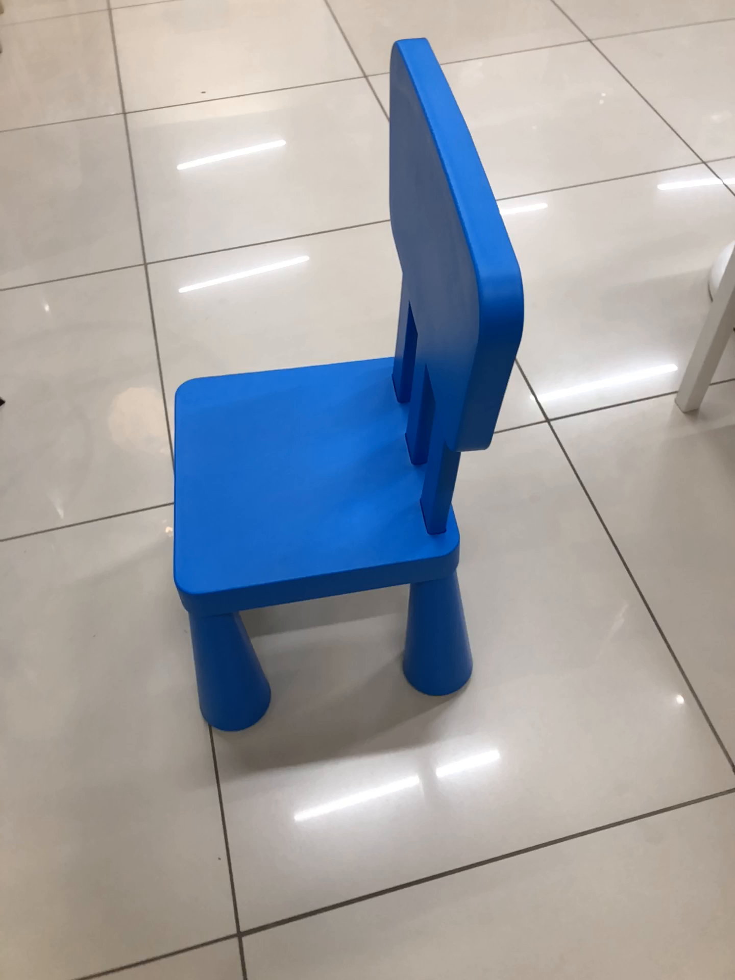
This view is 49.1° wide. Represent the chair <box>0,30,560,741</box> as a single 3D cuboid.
[{"bbox_3d":[-0.066,-0.048,0.868,0.355,0.666,0.357,-8,53,-3],"label":"chair"}]
